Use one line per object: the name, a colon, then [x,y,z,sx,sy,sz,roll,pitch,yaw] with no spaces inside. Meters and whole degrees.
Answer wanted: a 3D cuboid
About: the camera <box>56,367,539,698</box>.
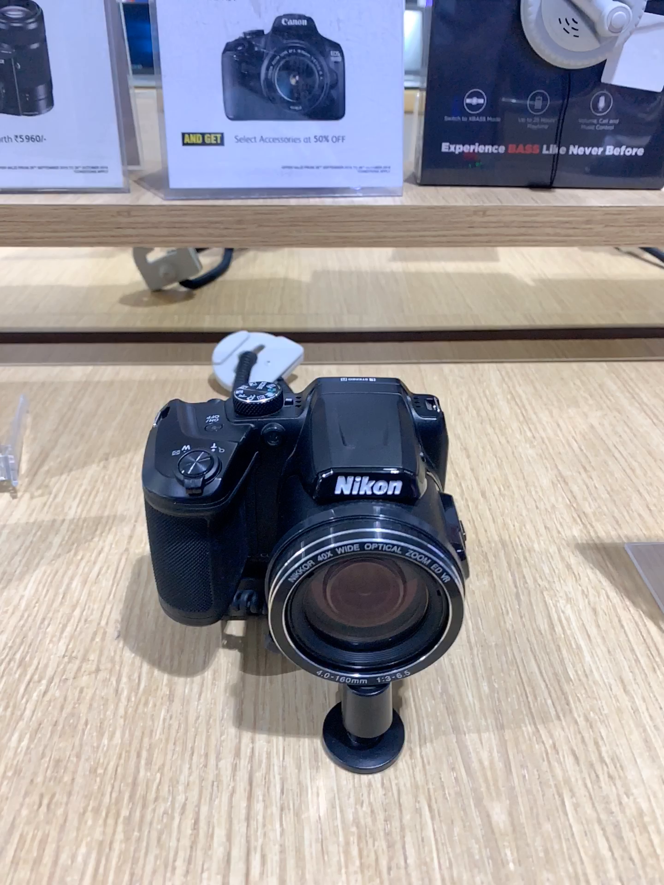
camera: [-0.010,0.025,0.223,0.120,0.070,0.080,-1,32,-2]
